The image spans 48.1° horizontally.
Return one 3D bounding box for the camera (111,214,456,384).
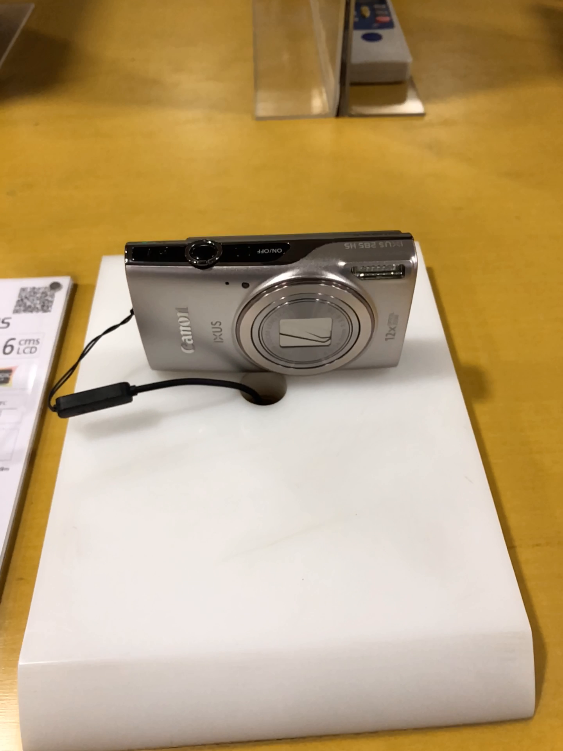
[{"bbox_3d":[0.001,-0.026,0.230,0.110,0.060,0.020,-2,50,-1],"label":"camera"}]
